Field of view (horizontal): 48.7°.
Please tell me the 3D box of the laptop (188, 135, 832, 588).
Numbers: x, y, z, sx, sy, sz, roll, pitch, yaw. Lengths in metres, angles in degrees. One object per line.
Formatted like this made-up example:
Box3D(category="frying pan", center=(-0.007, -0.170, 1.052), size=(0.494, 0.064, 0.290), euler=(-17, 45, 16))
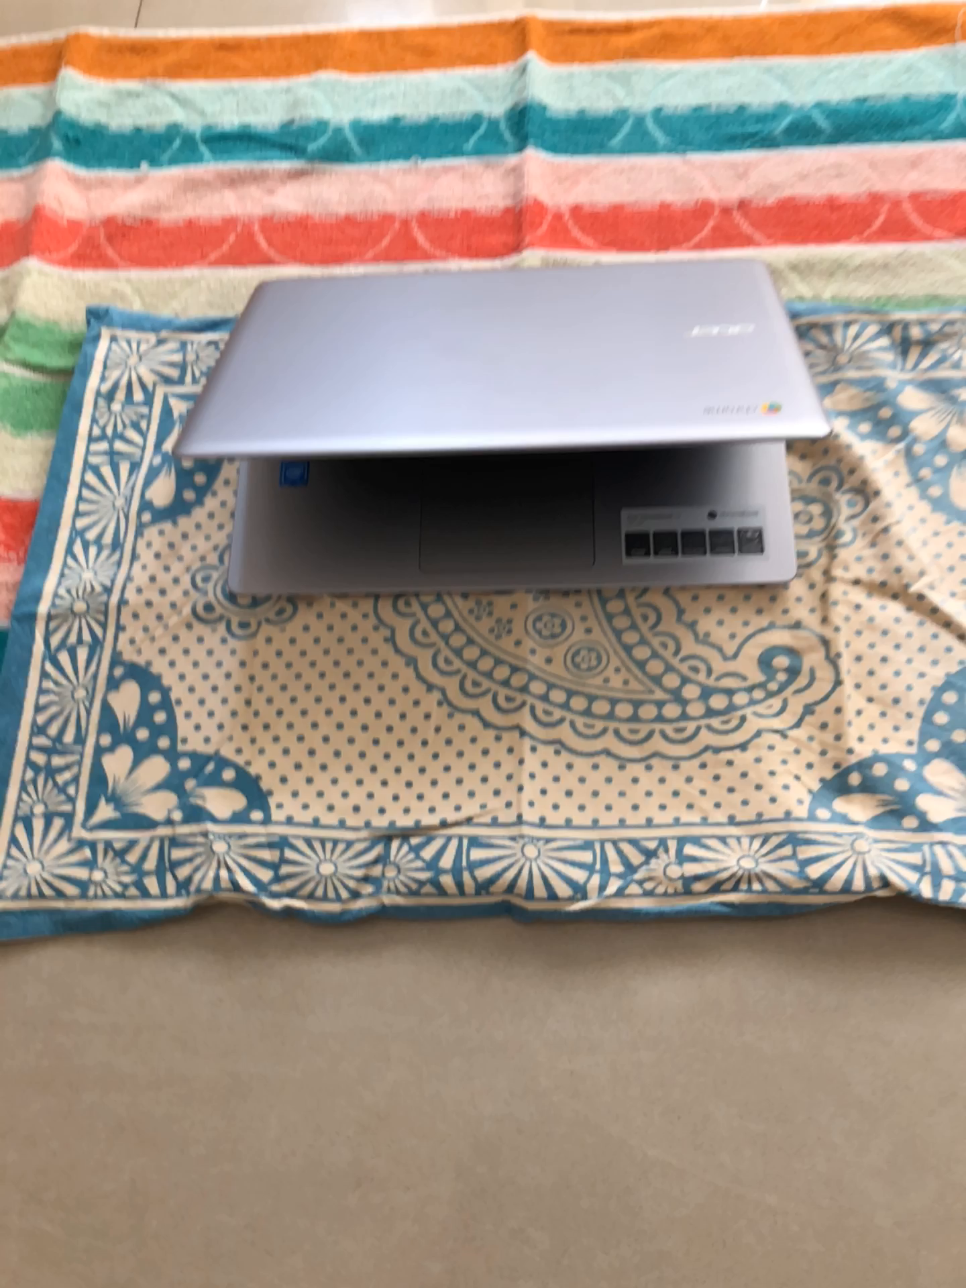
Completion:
Box3D(category="laptop", center=(0.015, -0.159, 0.617), size=(0.319, 0.105, 0.222), euler=(-1, 69, 4))
